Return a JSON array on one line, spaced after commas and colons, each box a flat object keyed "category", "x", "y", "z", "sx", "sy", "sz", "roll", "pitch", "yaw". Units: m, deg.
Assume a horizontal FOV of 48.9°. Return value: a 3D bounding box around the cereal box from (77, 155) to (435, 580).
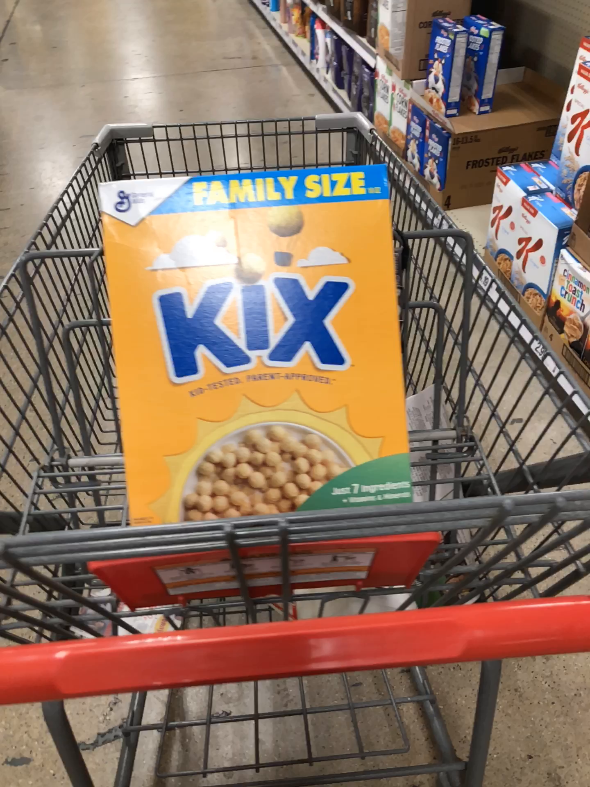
[{"category": "cereal box", "x": -0.030, "y": -0.023, "z": 0.557, "sx": 0.260, "sy": 0.320, "sz": 0.070, "roll": -5, "pitch": 2, "yaw": -3}]
